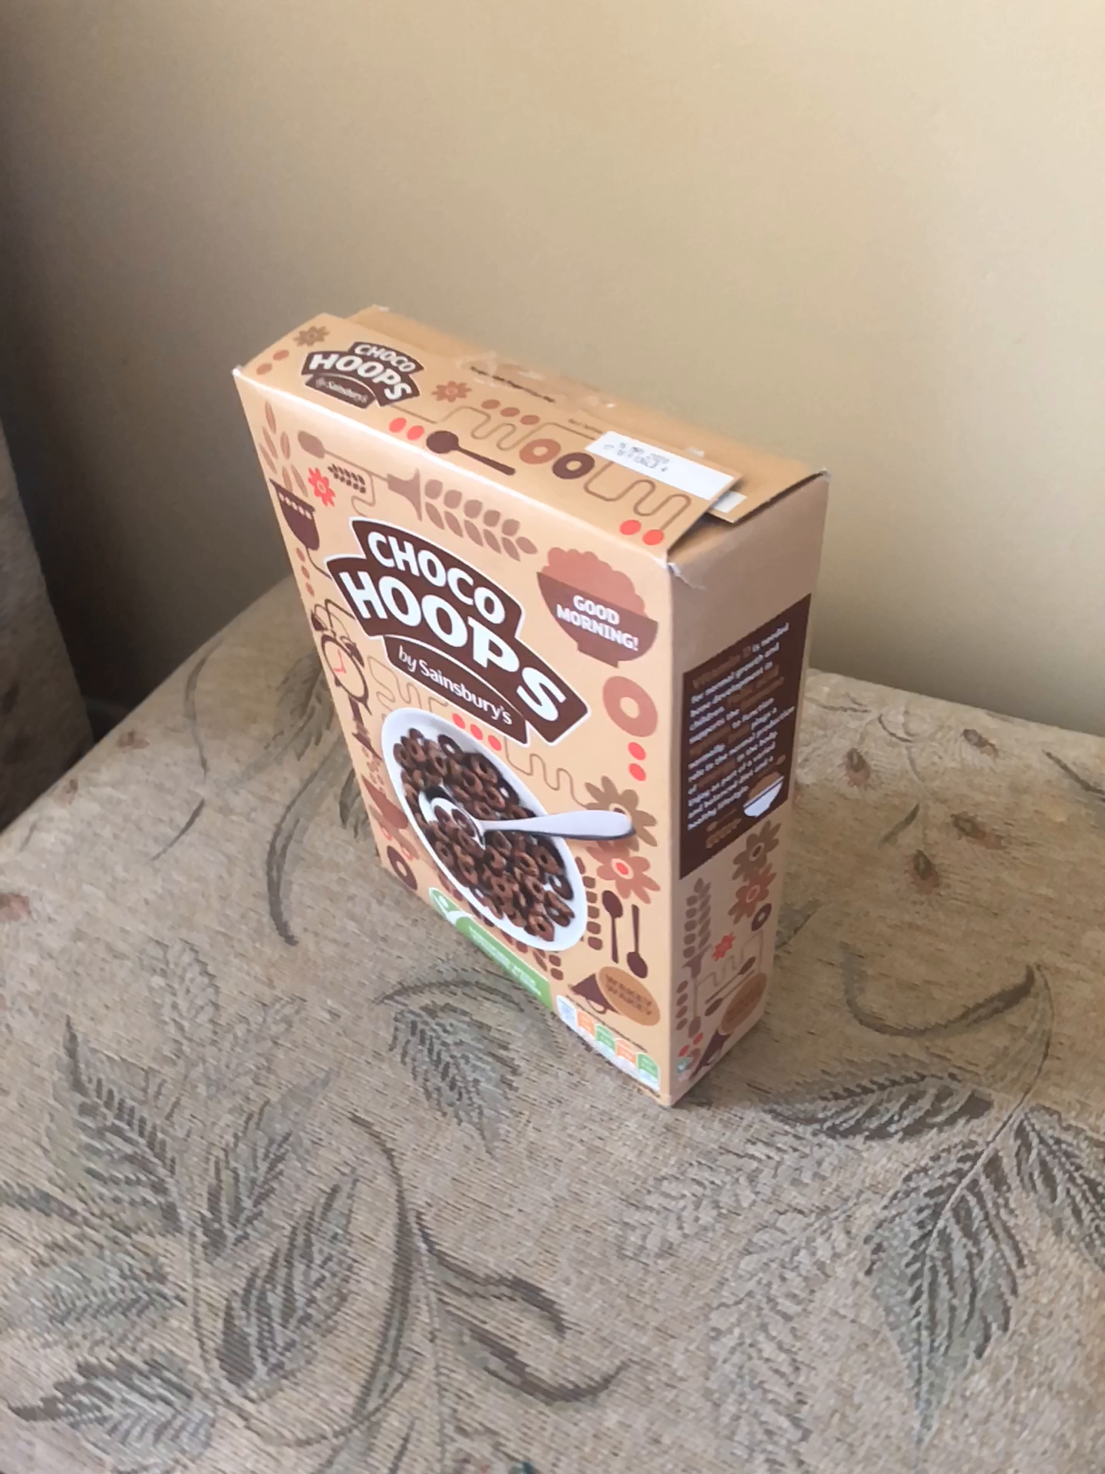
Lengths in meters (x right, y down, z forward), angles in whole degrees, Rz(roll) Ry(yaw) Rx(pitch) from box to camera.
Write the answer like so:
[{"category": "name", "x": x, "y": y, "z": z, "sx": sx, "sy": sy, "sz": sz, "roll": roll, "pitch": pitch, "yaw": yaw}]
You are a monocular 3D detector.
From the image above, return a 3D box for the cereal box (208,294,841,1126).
[{"category": "cereal box", "x": -0.011, "y": -0.008, "z": 0.480, "sx": 0.080, "sy": 0.258, "sz": 0.211, "roll": -36, "pitch": 51, "yaw": -30}]
